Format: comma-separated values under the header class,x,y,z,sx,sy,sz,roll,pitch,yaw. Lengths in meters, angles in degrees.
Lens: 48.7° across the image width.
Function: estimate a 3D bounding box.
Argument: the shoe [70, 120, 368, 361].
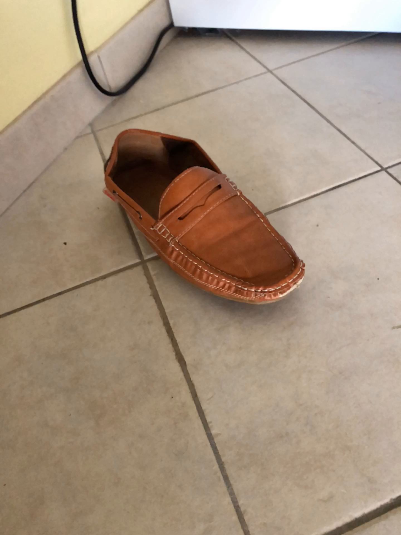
class,x,y,z,sx,sy,sz,roll,pitch,yaw
shoe,0.006,-0.048,0.455,0.130,0.070,0.280,-40,54,-22
